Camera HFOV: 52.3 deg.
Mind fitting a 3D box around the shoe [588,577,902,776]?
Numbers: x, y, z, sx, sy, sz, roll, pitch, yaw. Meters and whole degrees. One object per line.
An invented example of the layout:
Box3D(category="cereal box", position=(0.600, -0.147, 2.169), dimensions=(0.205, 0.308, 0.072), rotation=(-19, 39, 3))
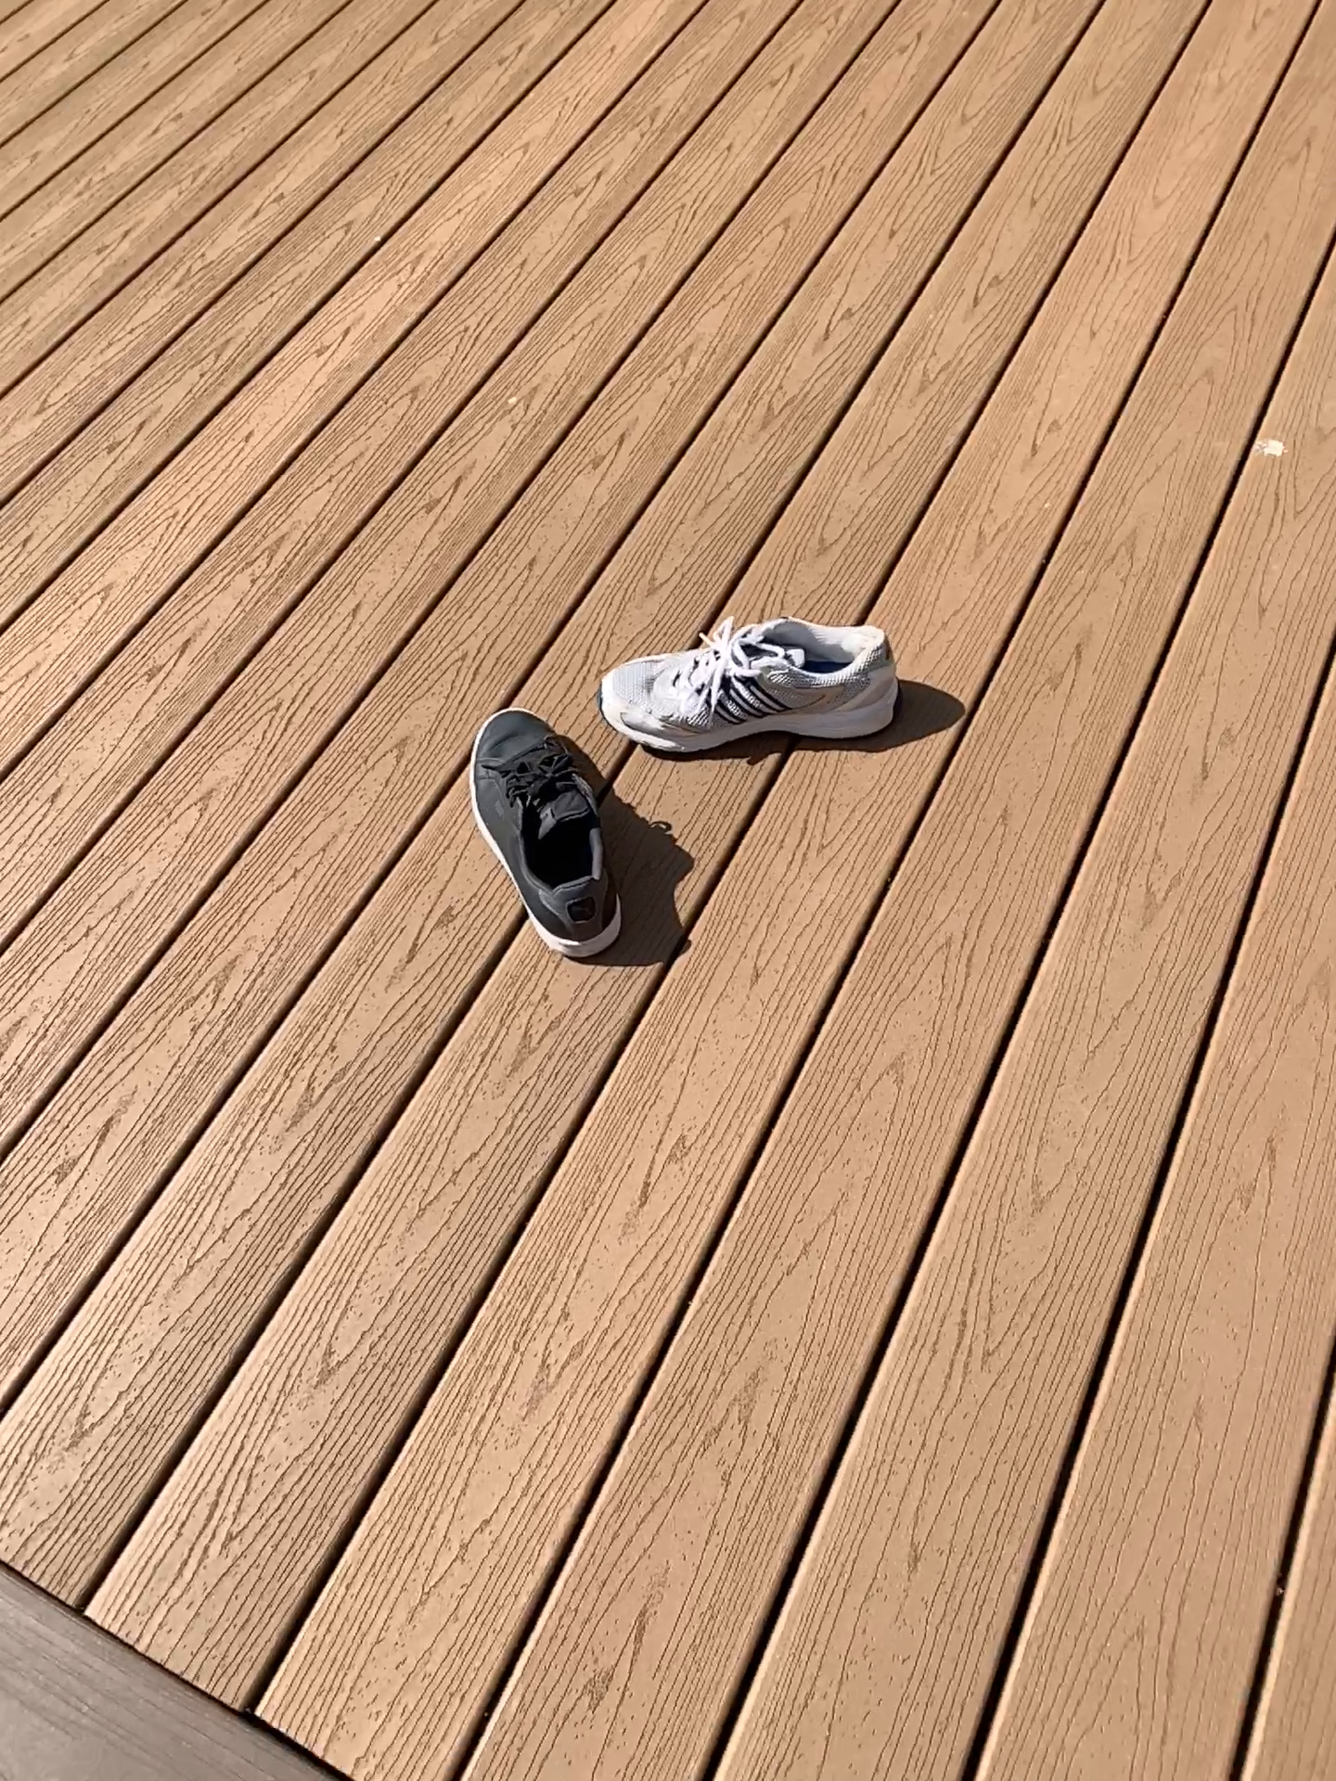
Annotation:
Box3D(category="shoe", position=(0.070, -0.194, 1.248), dimensions=(0.270, 0.120, 0.110), rotation=(-3, 57, 4))

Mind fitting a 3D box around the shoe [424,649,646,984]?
Box3D(category="shoe", position=(-0.116, -0.068, 1.169), dimensions=(0.110, 0.100, 0.261), rotation=(-18, 57, -6))
